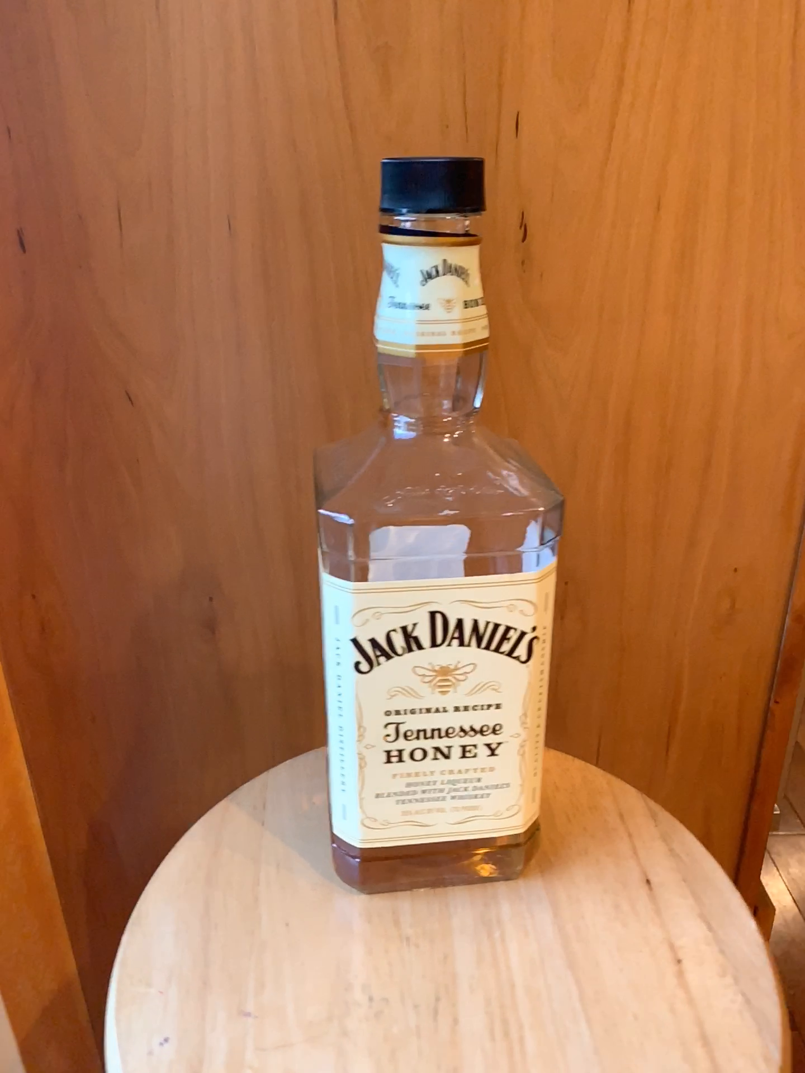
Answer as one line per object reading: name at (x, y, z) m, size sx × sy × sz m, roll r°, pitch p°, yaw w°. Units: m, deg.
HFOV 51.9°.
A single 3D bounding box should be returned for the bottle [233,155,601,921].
bottle at (0.002, 0.008, 0.378) m, size 0.120 × 0.328 × 0.101 m, roll -4°, pitch 24°, yaw -6°
